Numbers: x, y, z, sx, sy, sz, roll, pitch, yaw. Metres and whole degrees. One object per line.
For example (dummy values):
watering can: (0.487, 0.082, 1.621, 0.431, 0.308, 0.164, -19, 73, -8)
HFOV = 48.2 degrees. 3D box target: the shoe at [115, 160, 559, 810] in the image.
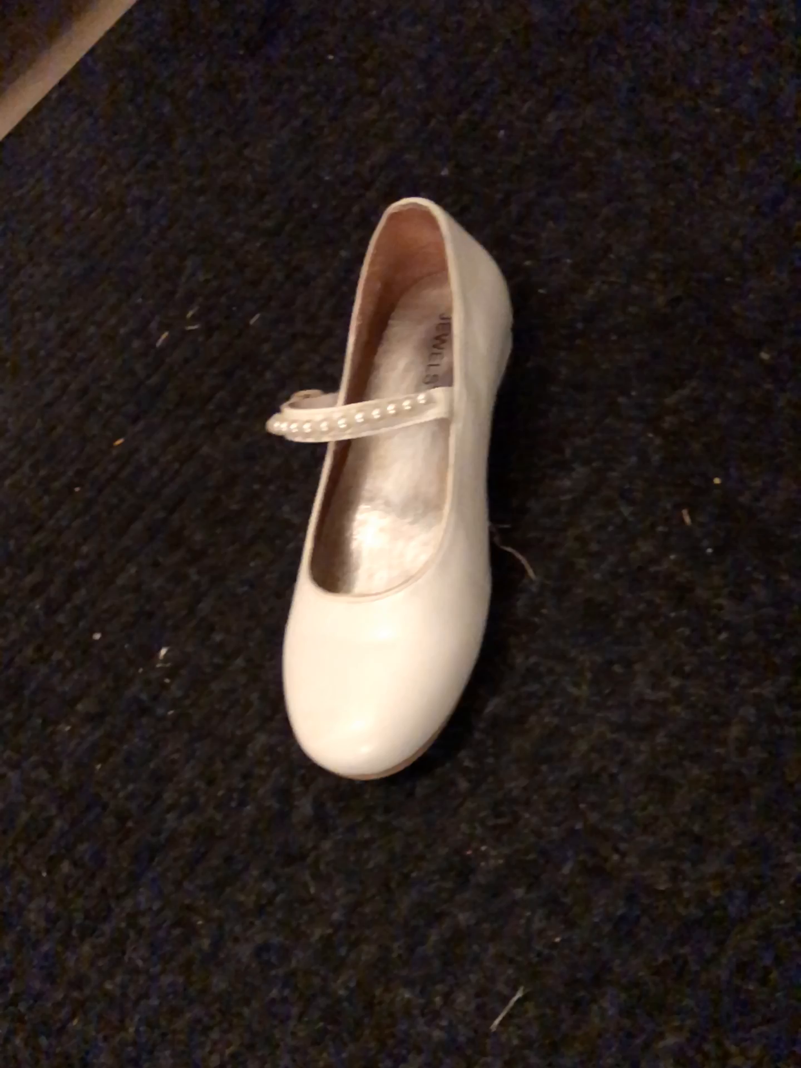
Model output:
shoe: (-0.008, -0.020, 0.312, 0.080, 0.080, 0.200, -1, 61, 28)
